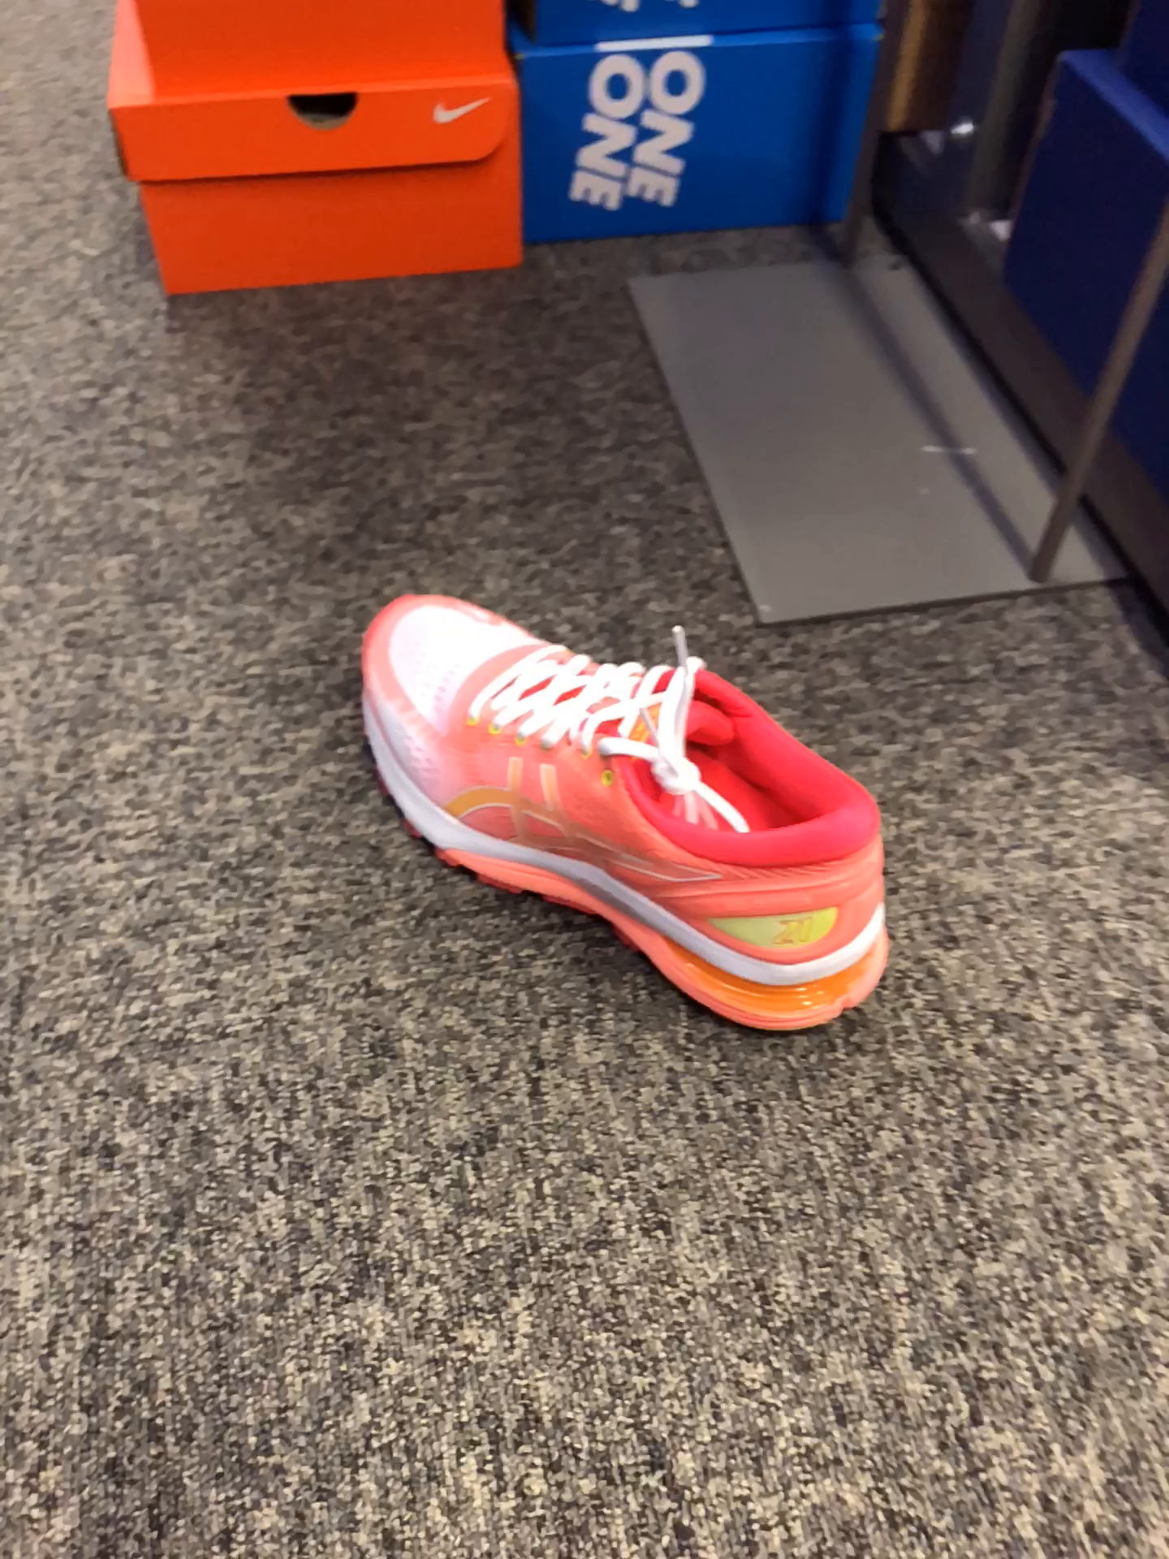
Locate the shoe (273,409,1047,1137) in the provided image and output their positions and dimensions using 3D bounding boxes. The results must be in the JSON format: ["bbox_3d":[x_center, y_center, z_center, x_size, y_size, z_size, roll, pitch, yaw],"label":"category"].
[{"bbox_3d":[0.016,-0.011,0.507,0.268,0.129,0.108,36,58,24],"label":"shoe"}]
